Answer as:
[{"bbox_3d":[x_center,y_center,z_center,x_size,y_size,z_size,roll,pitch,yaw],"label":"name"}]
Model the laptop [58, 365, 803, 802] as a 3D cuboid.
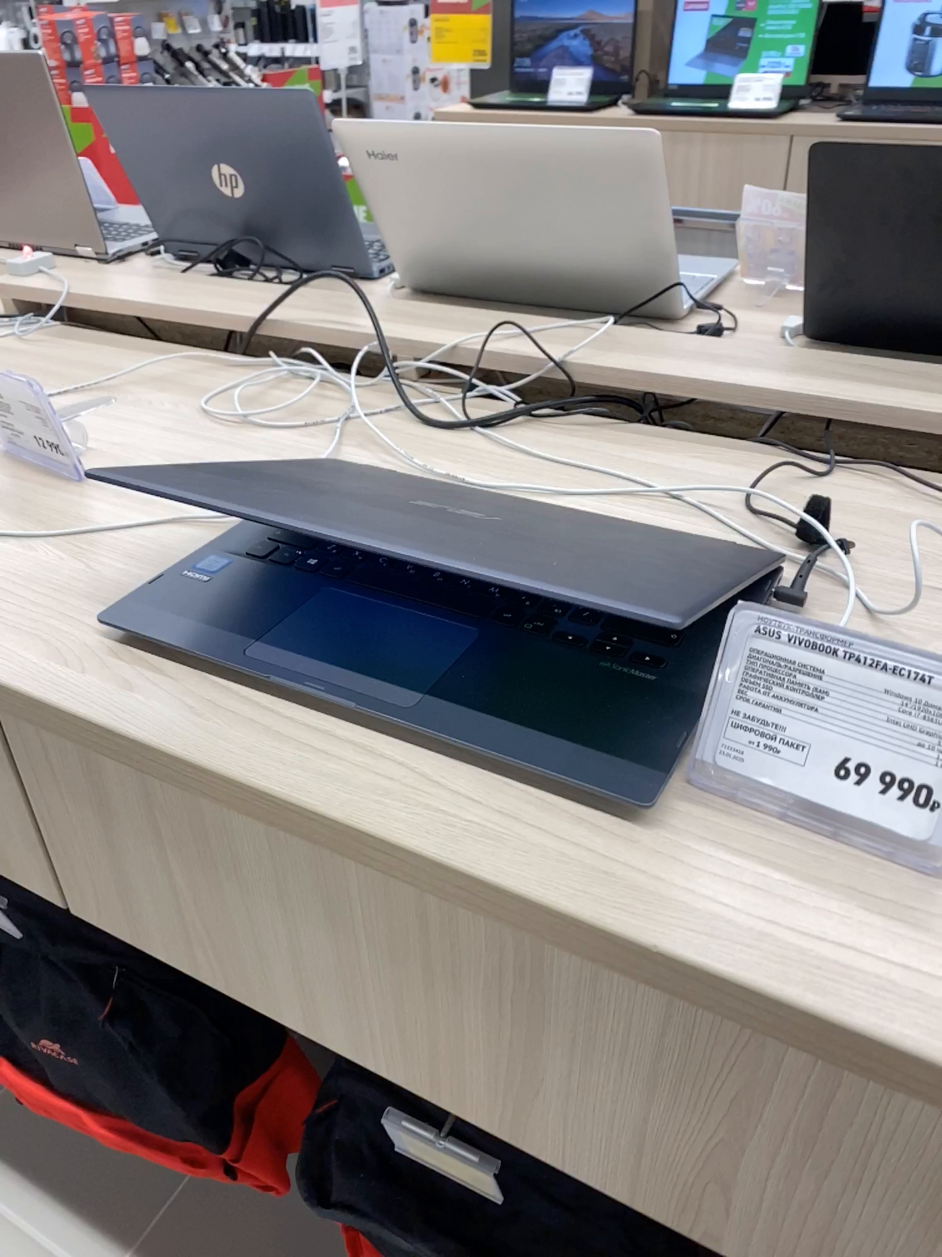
[{"bbox_3d":[-0.015,-0.054,0.537,0.330,0.079,0.226,15,37,24],"label":"laptop"}]
